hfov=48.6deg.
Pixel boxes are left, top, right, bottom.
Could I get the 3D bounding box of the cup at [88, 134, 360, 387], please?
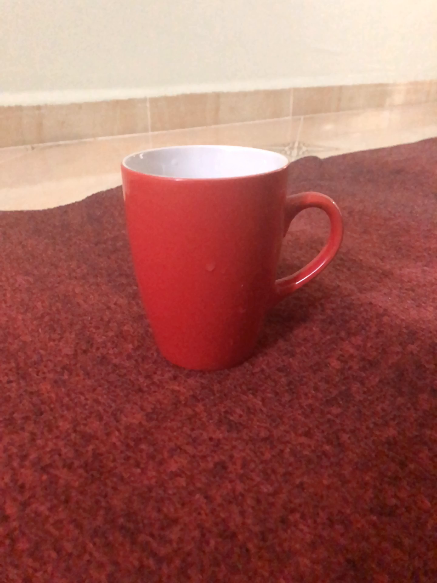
[{"bbox_3d":[0.001,-0.025,0.257,0.109,0.094,0.078,-14,29,-25],"label":"cup"}]
